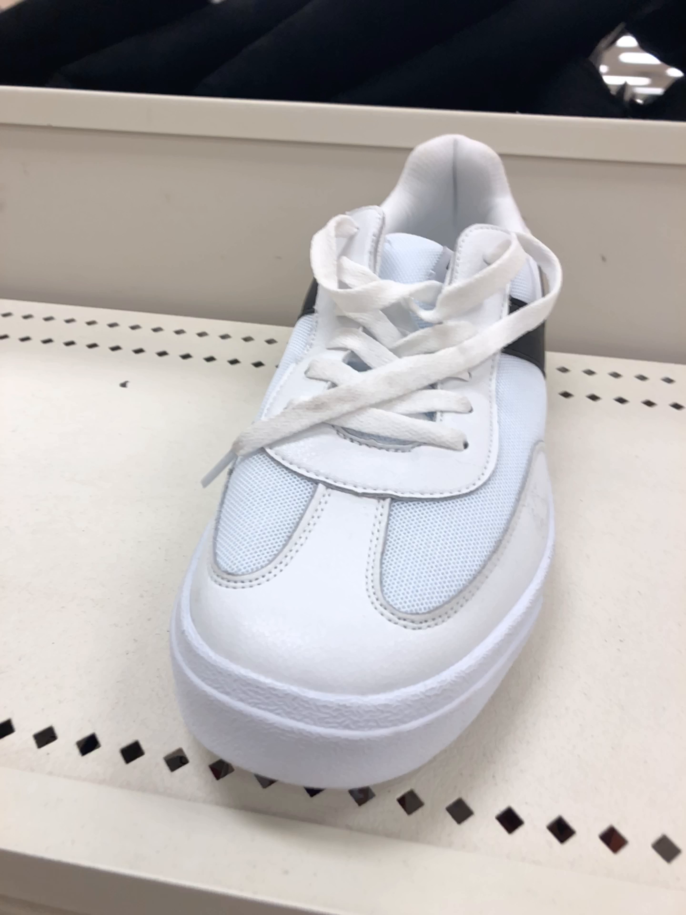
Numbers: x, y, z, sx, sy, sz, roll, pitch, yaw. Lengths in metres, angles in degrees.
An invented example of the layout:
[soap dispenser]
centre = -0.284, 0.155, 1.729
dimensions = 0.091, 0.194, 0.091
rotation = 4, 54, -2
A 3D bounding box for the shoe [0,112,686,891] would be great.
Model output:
[shoe]
centre = 0.041, -0.057, 0.303
dimensions = 0.113, 0.129, 0.373
rotation = 9, 28, 13
